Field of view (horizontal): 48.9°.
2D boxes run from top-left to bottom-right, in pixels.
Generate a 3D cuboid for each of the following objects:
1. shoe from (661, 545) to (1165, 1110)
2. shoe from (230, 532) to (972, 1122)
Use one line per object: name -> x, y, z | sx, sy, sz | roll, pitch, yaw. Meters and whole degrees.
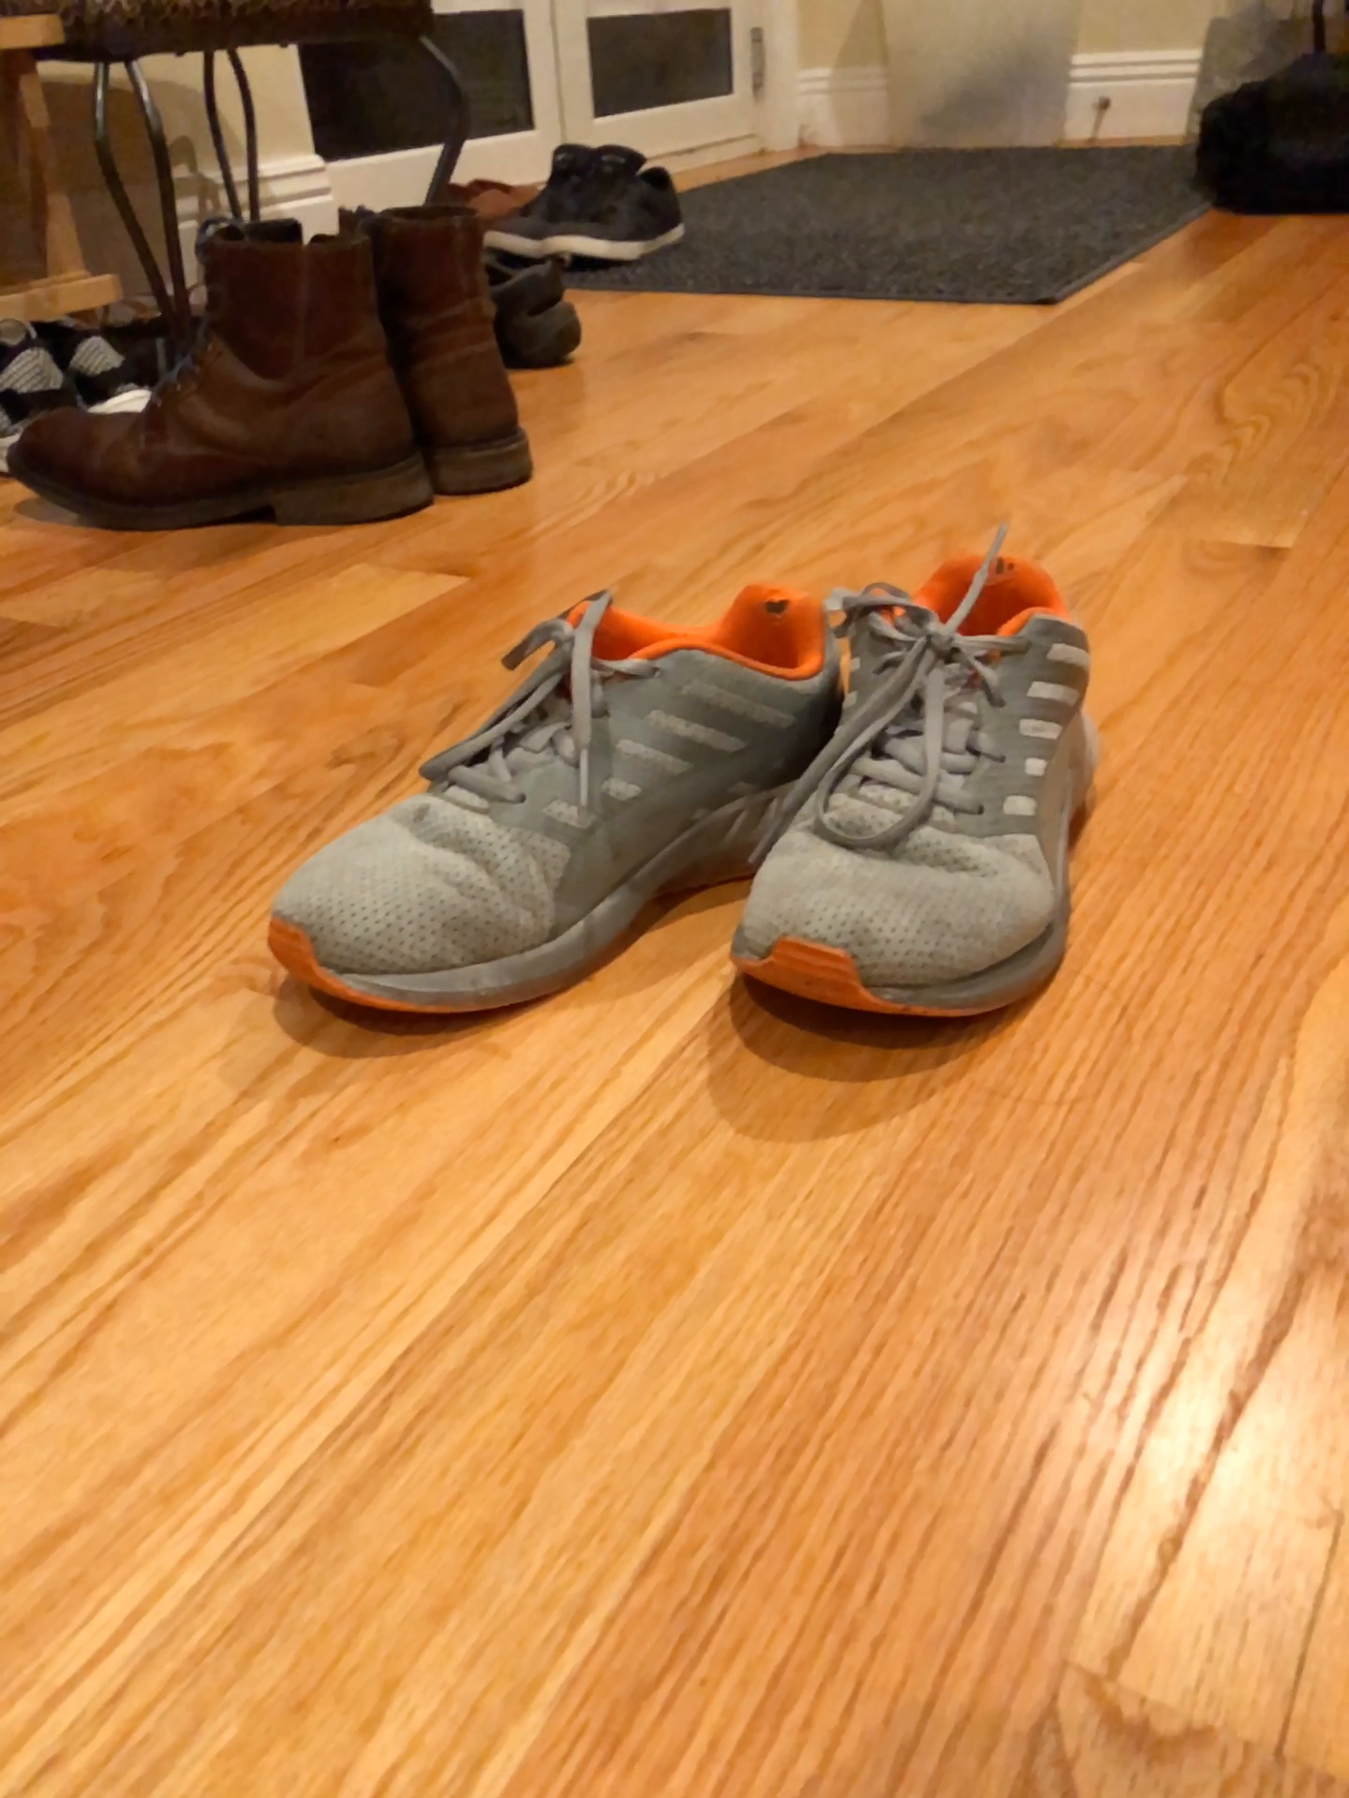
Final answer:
shoe -> 0.096, -0.044, 0.521 | 0.110, 0.080, 0.251 | 9, 33, 21
shoe -> -0.011, -0.042, 0.527 | 0.100, 0.099, 0.251 | 24, 41, 39
